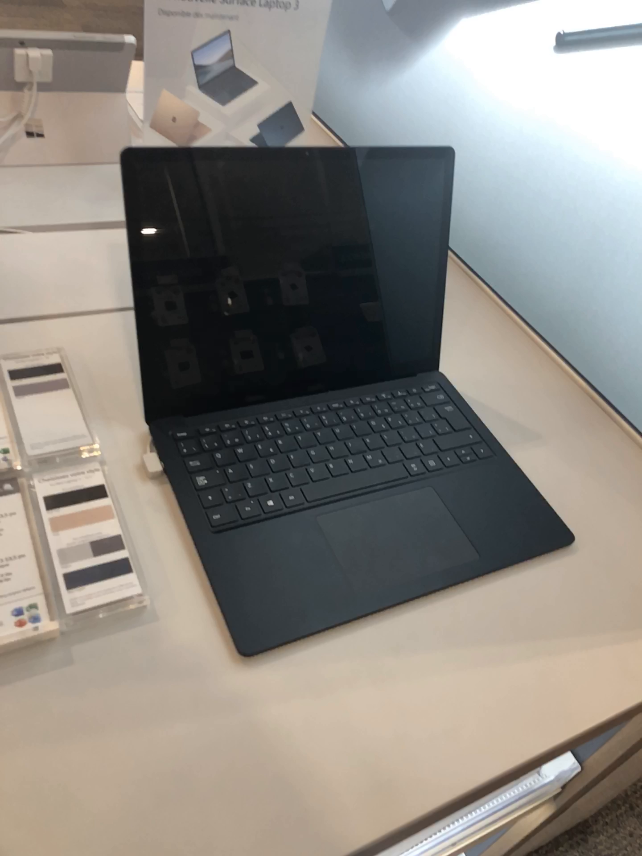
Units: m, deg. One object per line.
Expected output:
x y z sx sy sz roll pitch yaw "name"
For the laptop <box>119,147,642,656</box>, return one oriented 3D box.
0.035 -0.056 0.557 0.309 0.197 0.314 -11 49 -27 "laptop"
